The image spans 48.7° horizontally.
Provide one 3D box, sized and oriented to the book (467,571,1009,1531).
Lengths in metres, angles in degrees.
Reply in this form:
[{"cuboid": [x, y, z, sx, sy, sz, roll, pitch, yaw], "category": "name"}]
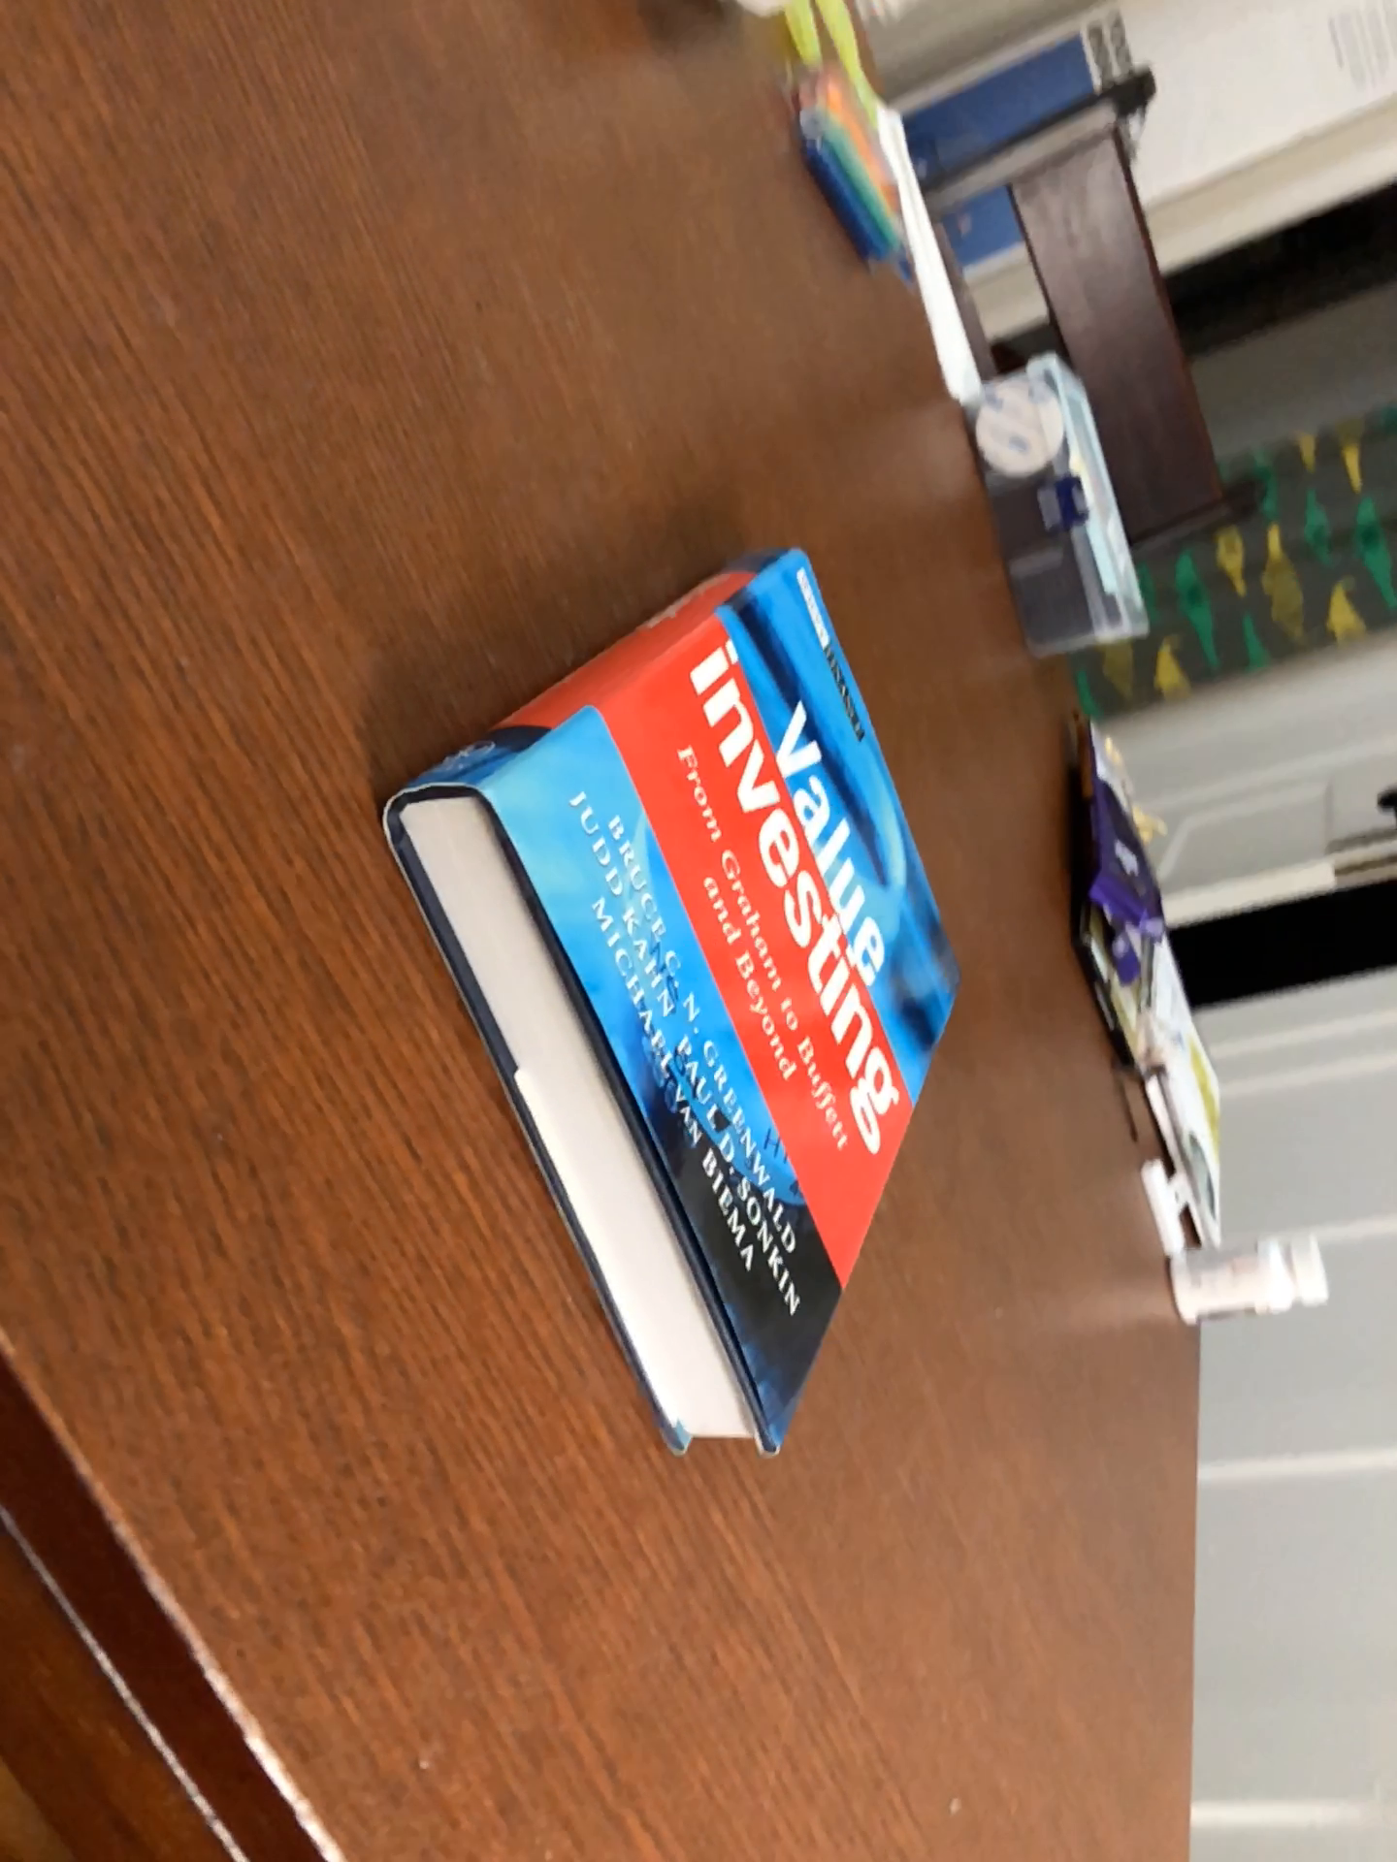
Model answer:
[{"cuboid": [0.032, 0.009, 0.414, 0.170, 0.020, 0.231, 68, 26, -16], "category": "book"}]
